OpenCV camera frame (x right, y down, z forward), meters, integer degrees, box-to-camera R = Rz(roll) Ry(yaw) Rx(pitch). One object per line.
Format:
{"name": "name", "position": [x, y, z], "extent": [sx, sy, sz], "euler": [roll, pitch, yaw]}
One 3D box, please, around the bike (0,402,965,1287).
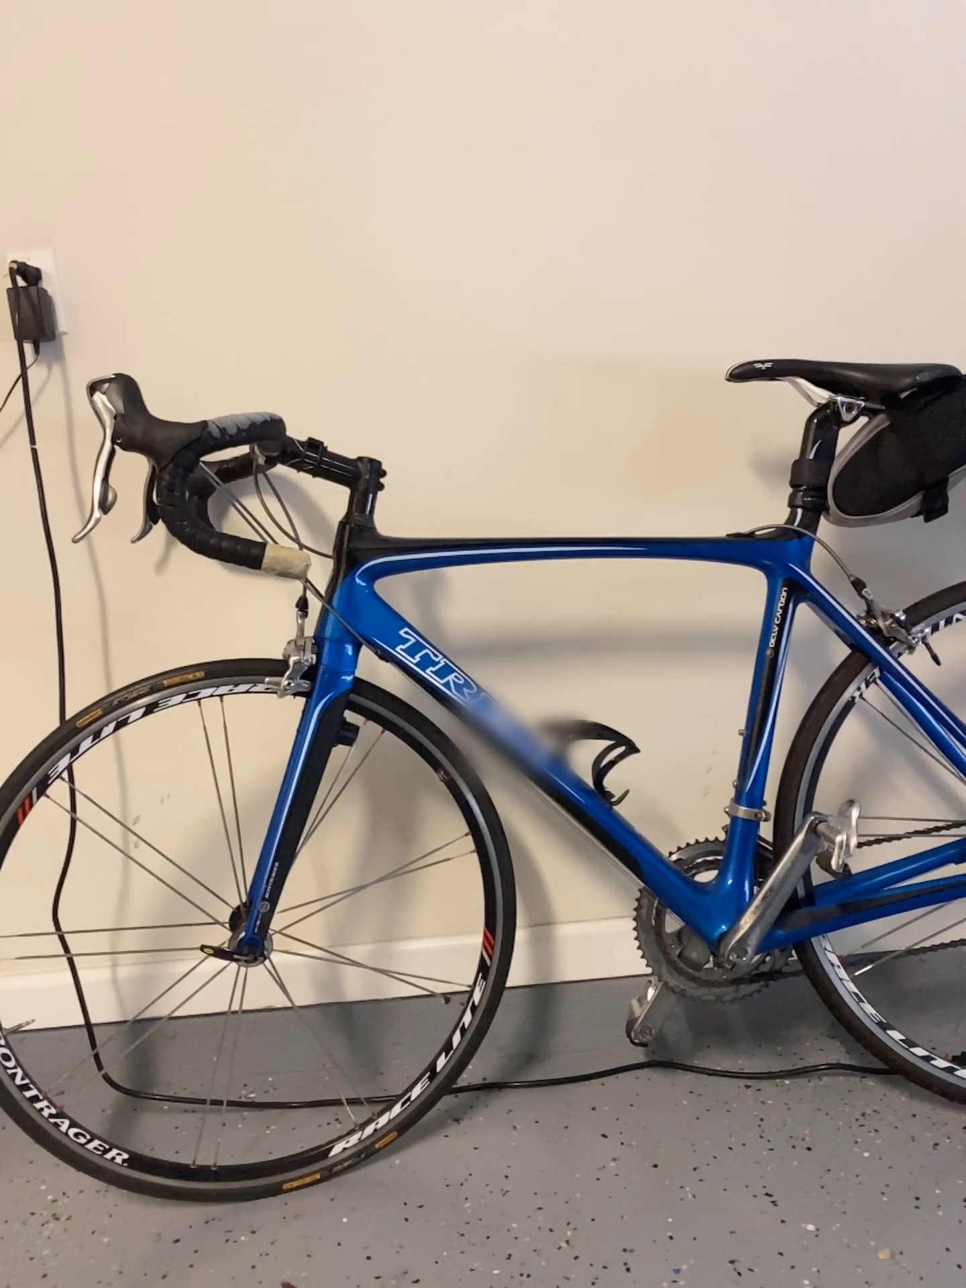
{"name": "bike", "position": [0.273, 0.215, 1.111], "extent": [1.638, 0.884, 0.401], "euler": [-3, 6, -10]}
